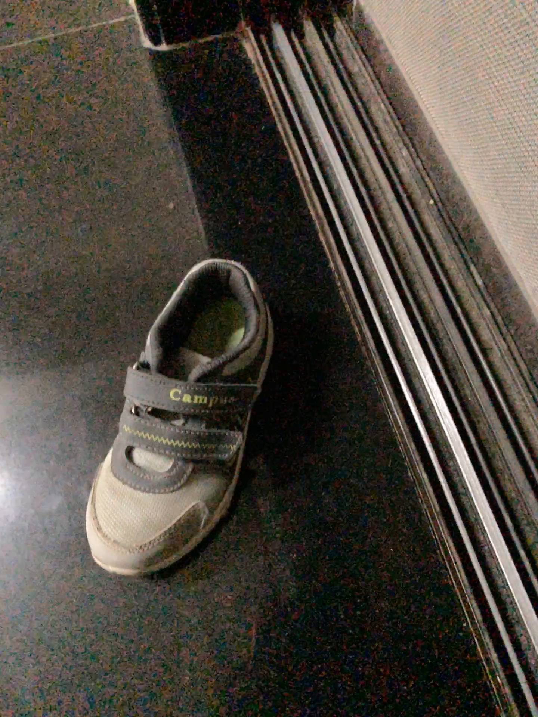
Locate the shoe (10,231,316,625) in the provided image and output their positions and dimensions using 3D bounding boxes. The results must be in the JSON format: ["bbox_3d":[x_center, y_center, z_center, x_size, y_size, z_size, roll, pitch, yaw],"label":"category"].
[{"bbox_3d":[-0.053,0.040,0.373,0.090,0.080,0.231,20,69,13],"label":"shoe"}]
